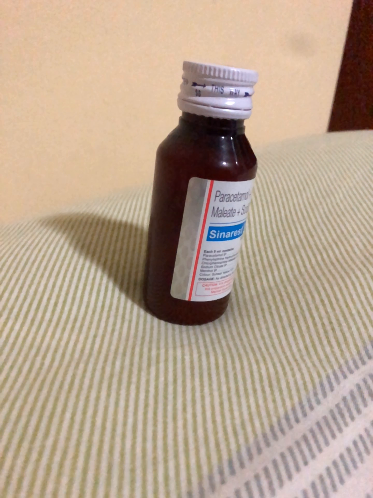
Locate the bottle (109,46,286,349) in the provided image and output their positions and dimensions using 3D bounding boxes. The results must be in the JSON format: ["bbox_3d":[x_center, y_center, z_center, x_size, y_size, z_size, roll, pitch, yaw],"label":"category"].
[{"bbox_3d":[0.001,-0.020,0.163,0.040,0.100,0.040,7,24,-3],"label":"bottle"}]
